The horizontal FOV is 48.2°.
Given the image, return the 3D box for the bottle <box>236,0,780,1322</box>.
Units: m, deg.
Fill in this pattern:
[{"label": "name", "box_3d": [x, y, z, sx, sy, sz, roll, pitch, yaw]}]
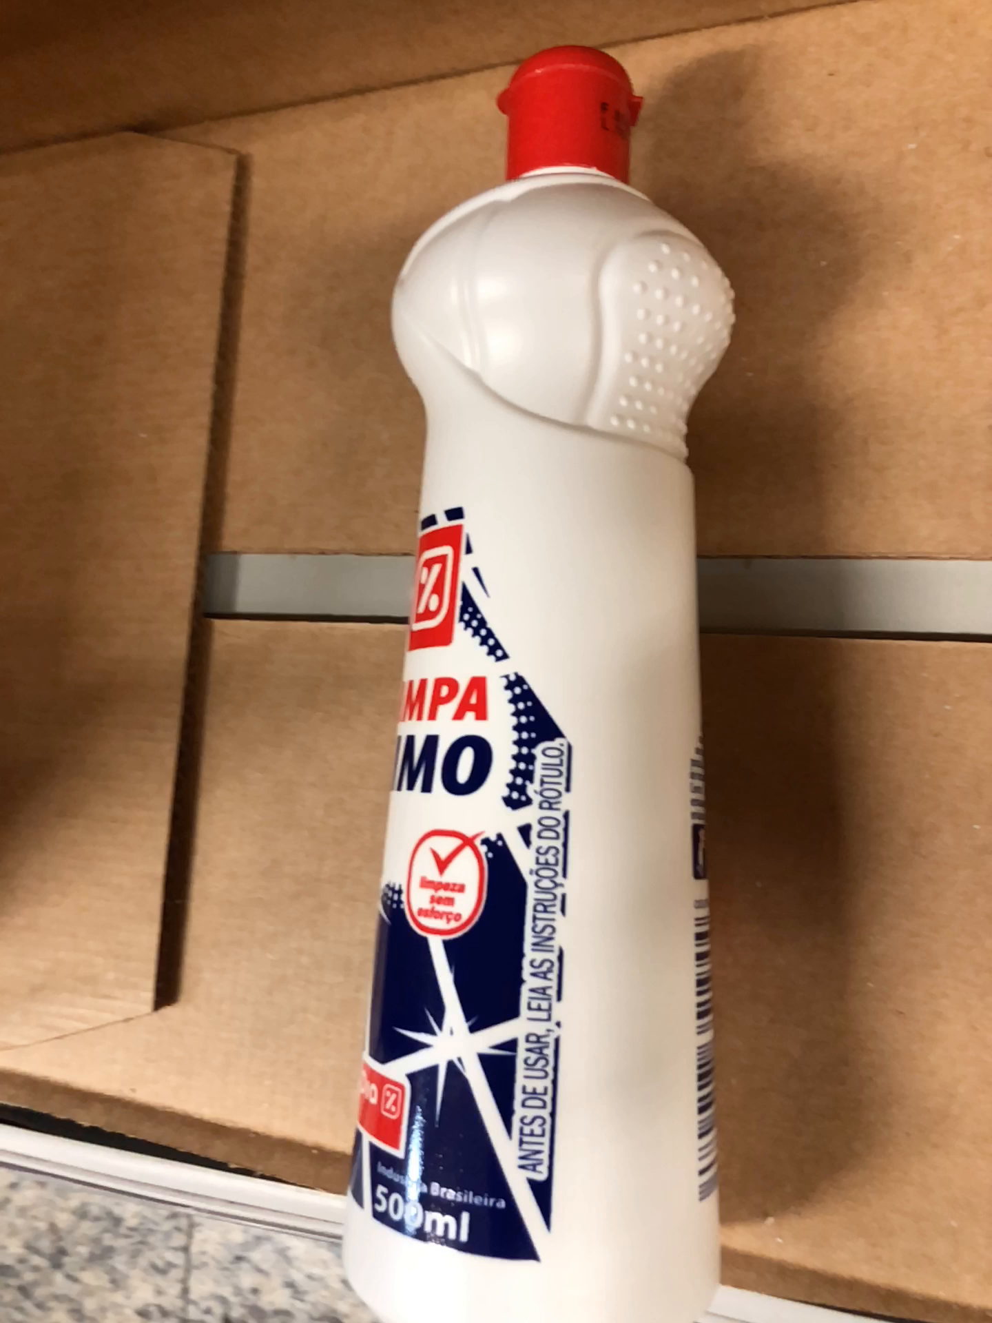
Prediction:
[{"label": "bottle", "box_3d": [0.008, -0.015, 0.209, 0.080, 0.060, 0.260, -1, 84, 22]}]
